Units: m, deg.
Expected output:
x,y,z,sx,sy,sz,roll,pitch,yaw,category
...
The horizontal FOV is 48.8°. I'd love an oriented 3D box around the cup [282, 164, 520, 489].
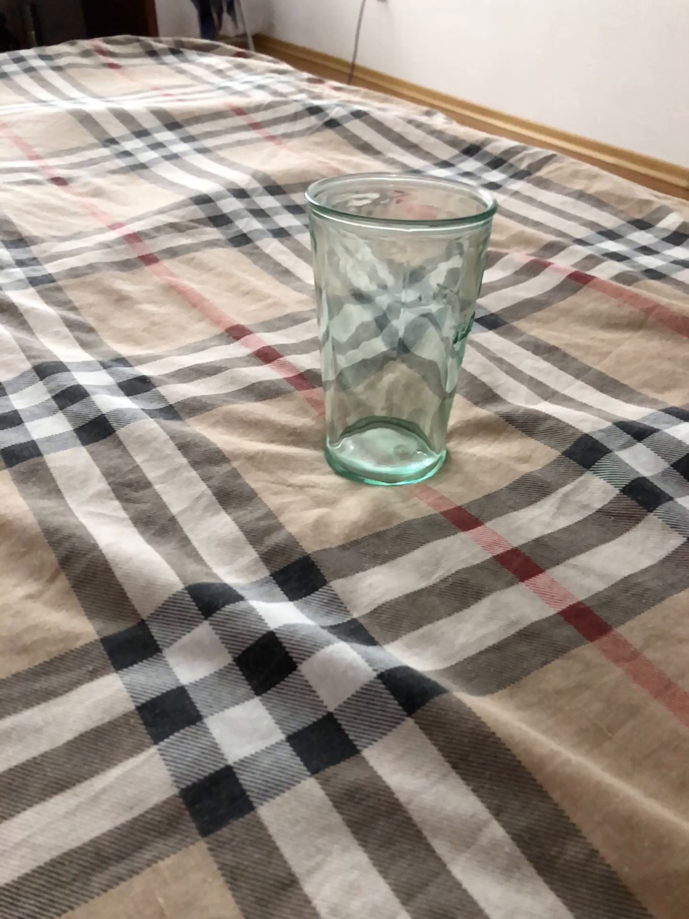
x,y,z,sx,sy,sz,roll,pitch,yaw,category
0.023,-0.059,0.328,0.082,0.112,0.086,-1,35,1,cup
